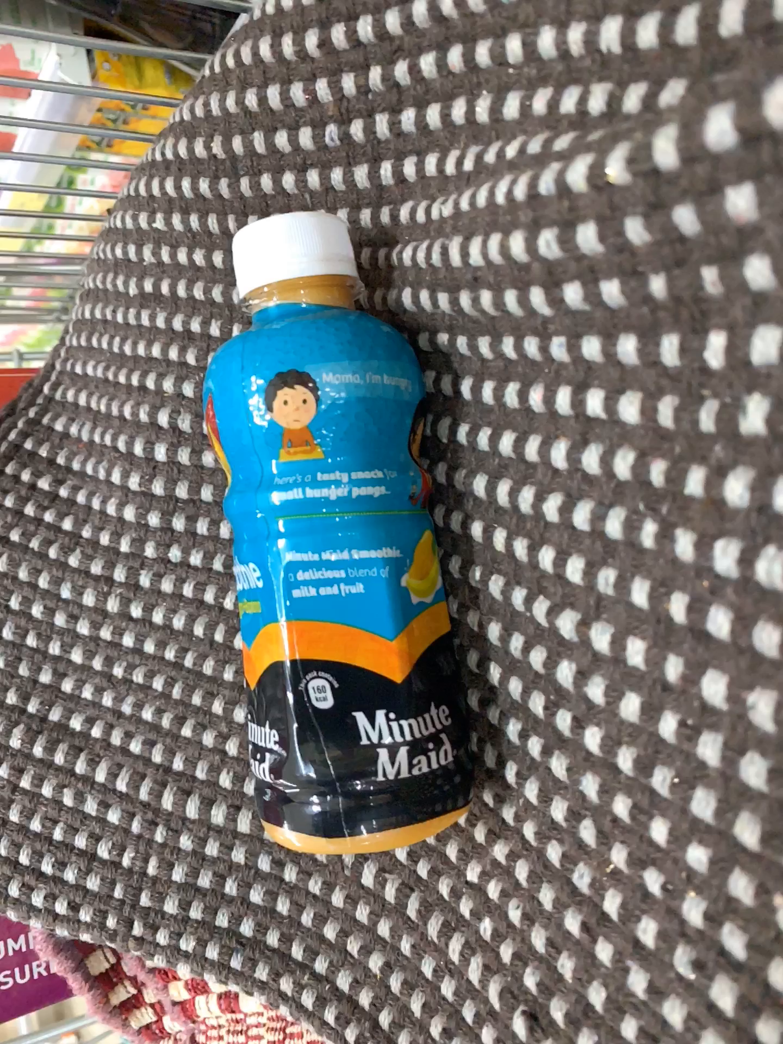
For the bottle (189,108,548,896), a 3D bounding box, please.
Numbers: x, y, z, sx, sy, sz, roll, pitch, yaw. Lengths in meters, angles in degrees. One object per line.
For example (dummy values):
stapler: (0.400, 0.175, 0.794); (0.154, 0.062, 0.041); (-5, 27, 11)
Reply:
bottle: (-0.009, -0.004, 0.199); (0.060, 0.040, 0.160); (-9, 89, 54)
